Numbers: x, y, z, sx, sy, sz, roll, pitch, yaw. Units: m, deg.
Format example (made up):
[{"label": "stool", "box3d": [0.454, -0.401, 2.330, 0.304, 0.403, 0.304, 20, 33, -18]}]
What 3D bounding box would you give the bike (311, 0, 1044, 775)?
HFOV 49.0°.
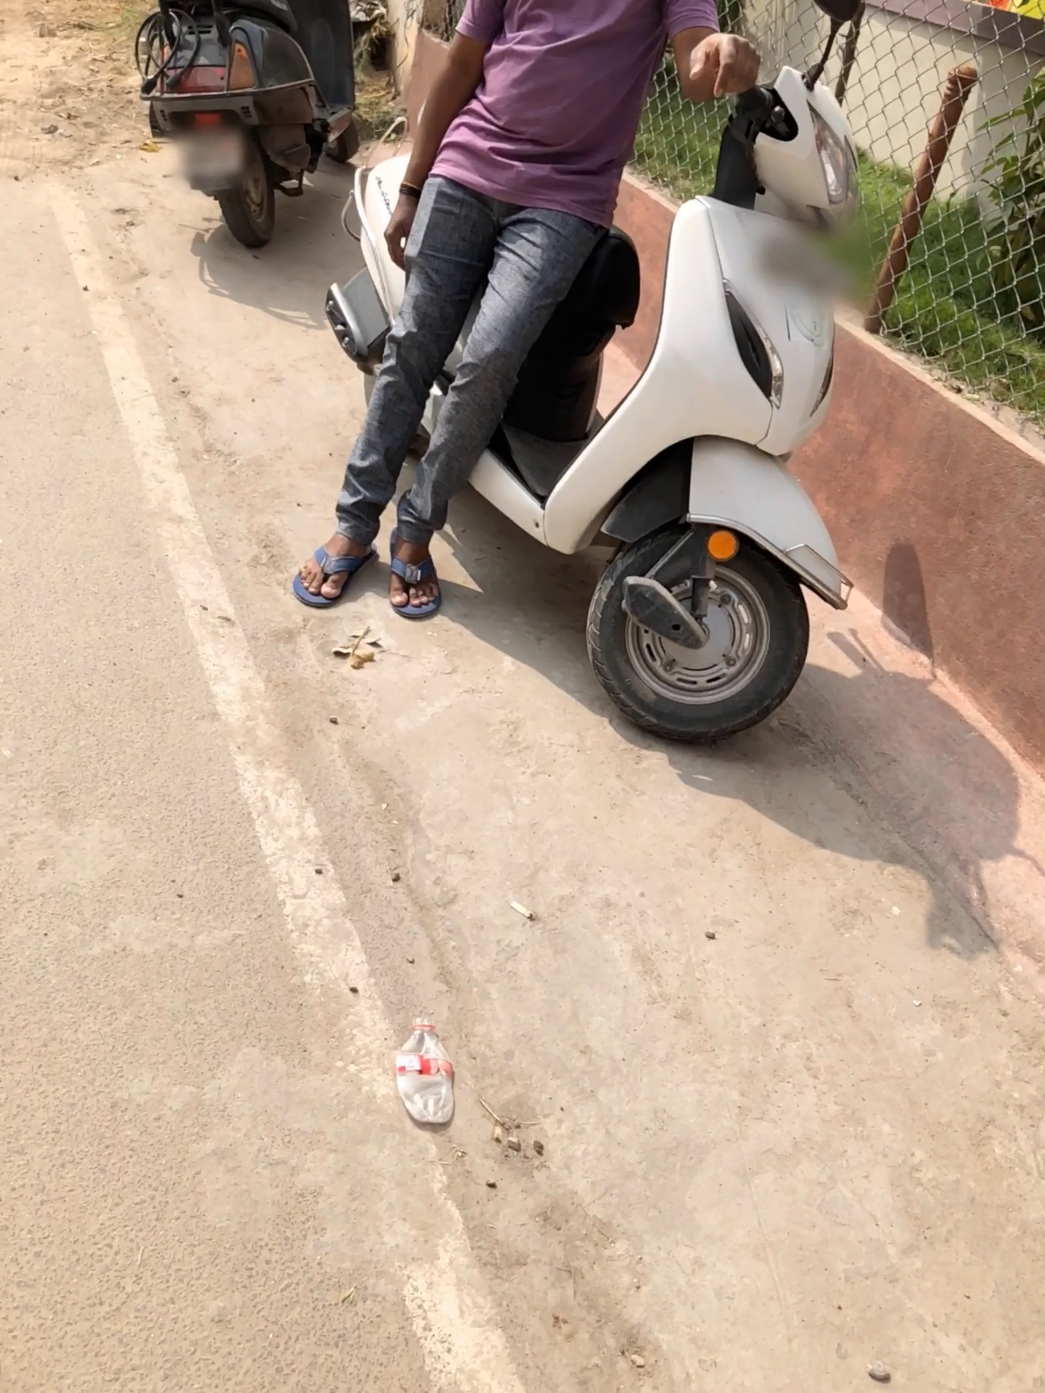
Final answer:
[{"label": "bike", "box3d": [0.245, -0.786, 2.506, 0.621, 1.112, 1.554, -13, 43, -35]}]
